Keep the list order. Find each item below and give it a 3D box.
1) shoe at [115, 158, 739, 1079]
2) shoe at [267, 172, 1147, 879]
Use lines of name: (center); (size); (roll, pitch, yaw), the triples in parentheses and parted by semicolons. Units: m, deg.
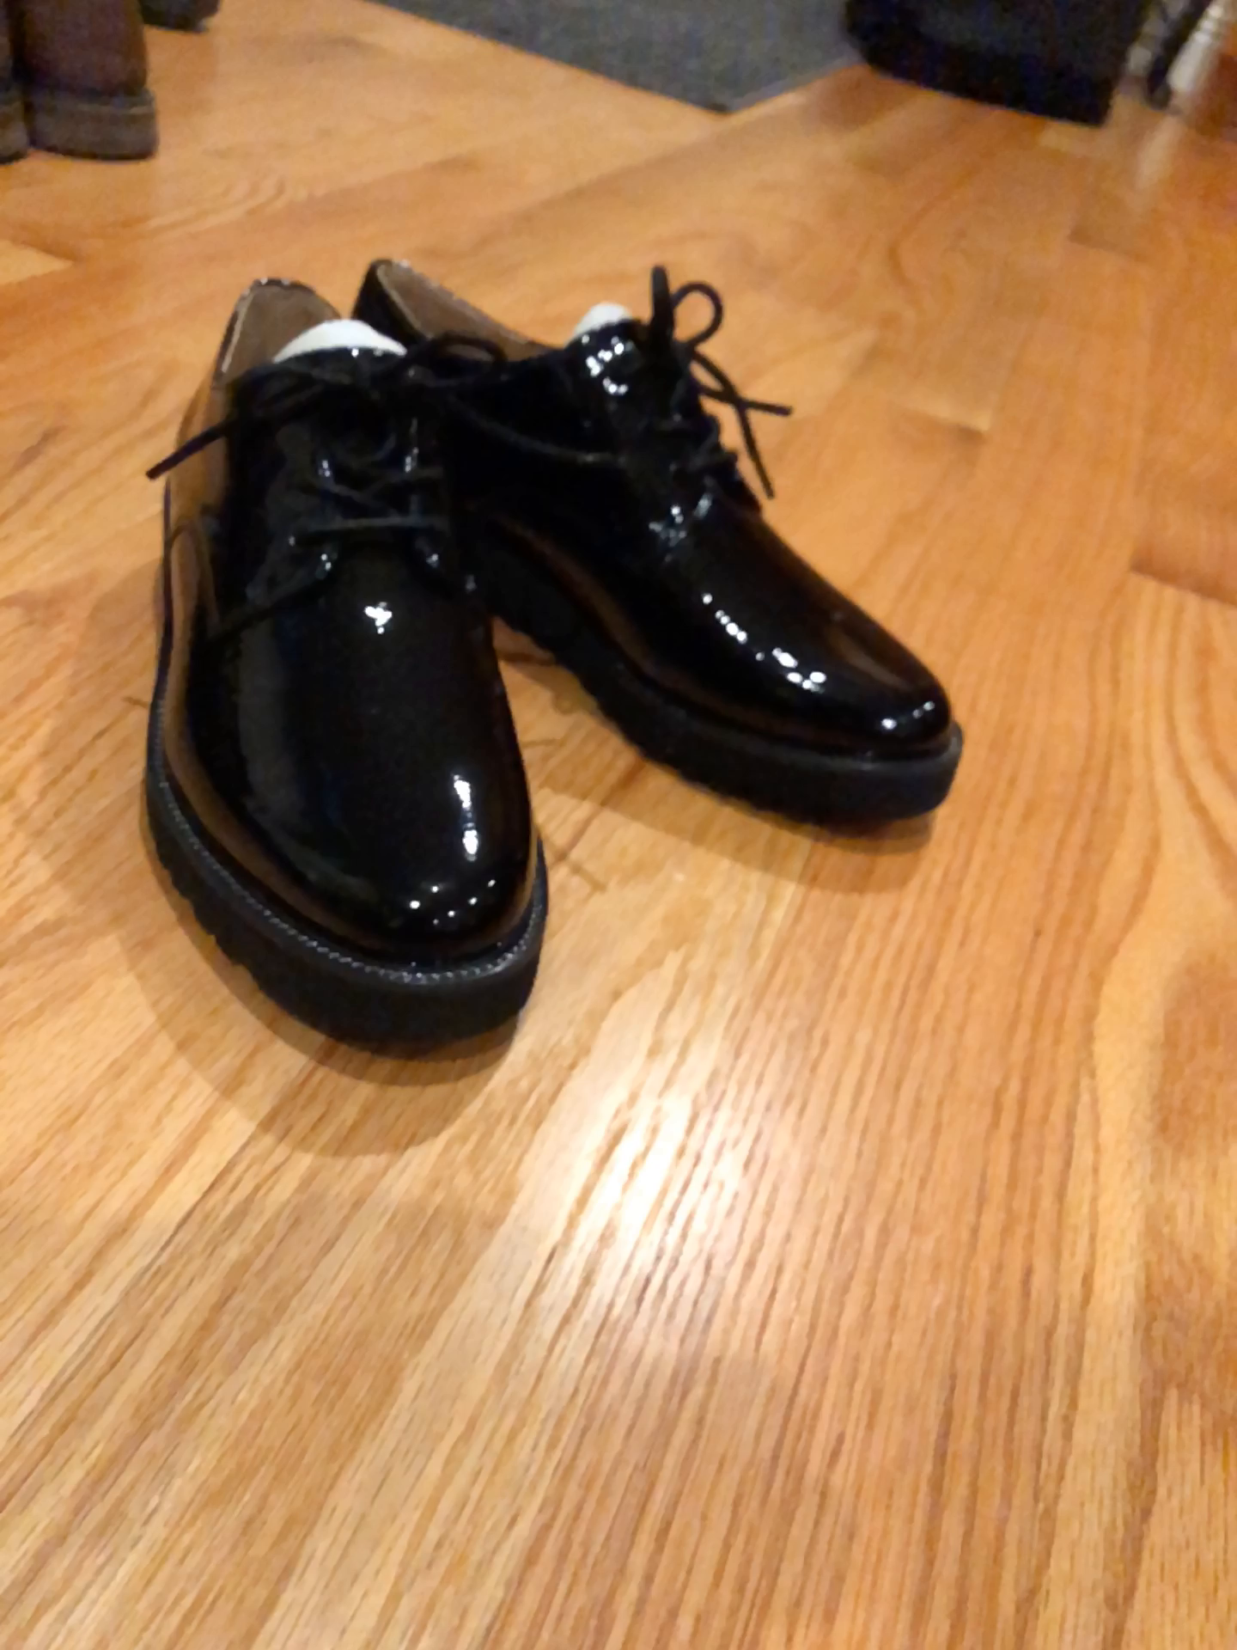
shoe: (-0.071, -0.071, 0.347); (0.095, 0.101, 0.252); (-2, 40, -21)
shoe: (0.012, -0.108, 0.430); (0.251, 0.101, 0.095); (35, 41, 25)
